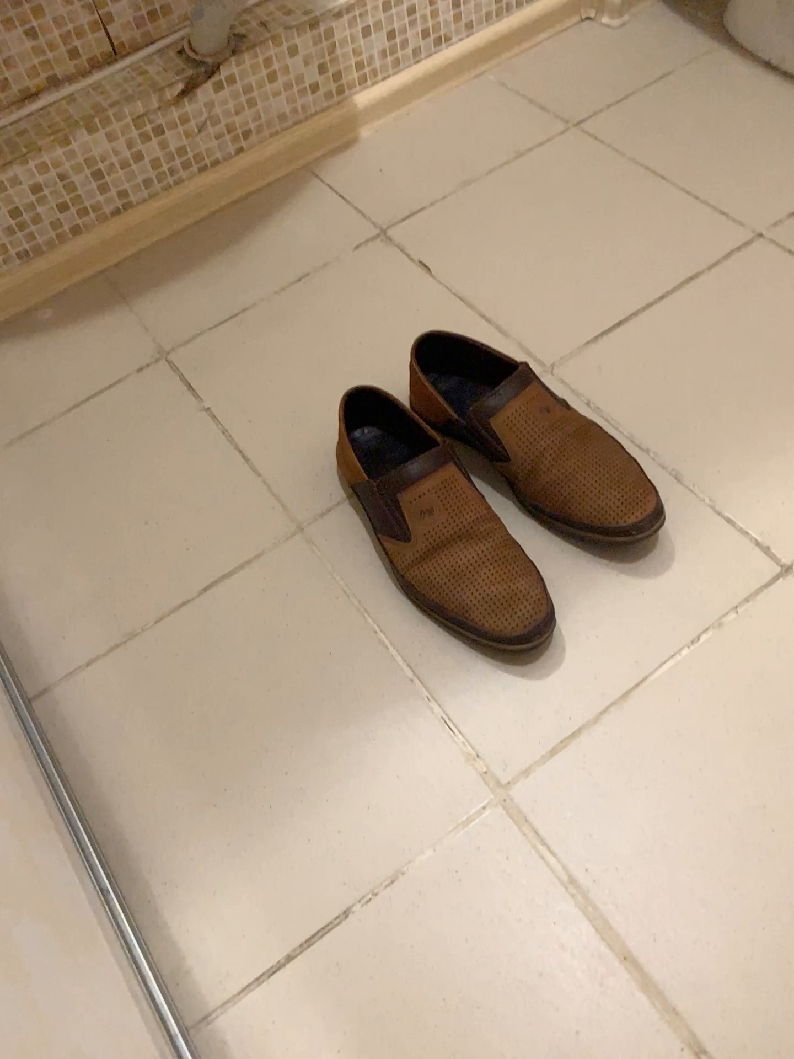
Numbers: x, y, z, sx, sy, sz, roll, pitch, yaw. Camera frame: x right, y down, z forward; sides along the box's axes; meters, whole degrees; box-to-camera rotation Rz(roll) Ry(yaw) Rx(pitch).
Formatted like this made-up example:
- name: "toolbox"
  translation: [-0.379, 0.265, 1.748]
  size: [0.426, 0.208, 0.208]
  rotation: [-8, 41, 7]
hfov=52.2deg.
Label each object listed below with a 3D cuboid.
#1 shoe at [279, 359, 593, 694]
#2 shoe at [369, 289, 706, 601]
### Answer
- name: "shoe"
  translation: [0.025, -0.012, 0.671]
  size: [0.110, 0.080, 0.271]
  rotation: [-33, 58, -12]
- name: "shoe"
  translation: [0.113, -0.085, 0.724]
  size: [0.110, 0.090, 0.291]
  rotation: [-37, 59, -15]
